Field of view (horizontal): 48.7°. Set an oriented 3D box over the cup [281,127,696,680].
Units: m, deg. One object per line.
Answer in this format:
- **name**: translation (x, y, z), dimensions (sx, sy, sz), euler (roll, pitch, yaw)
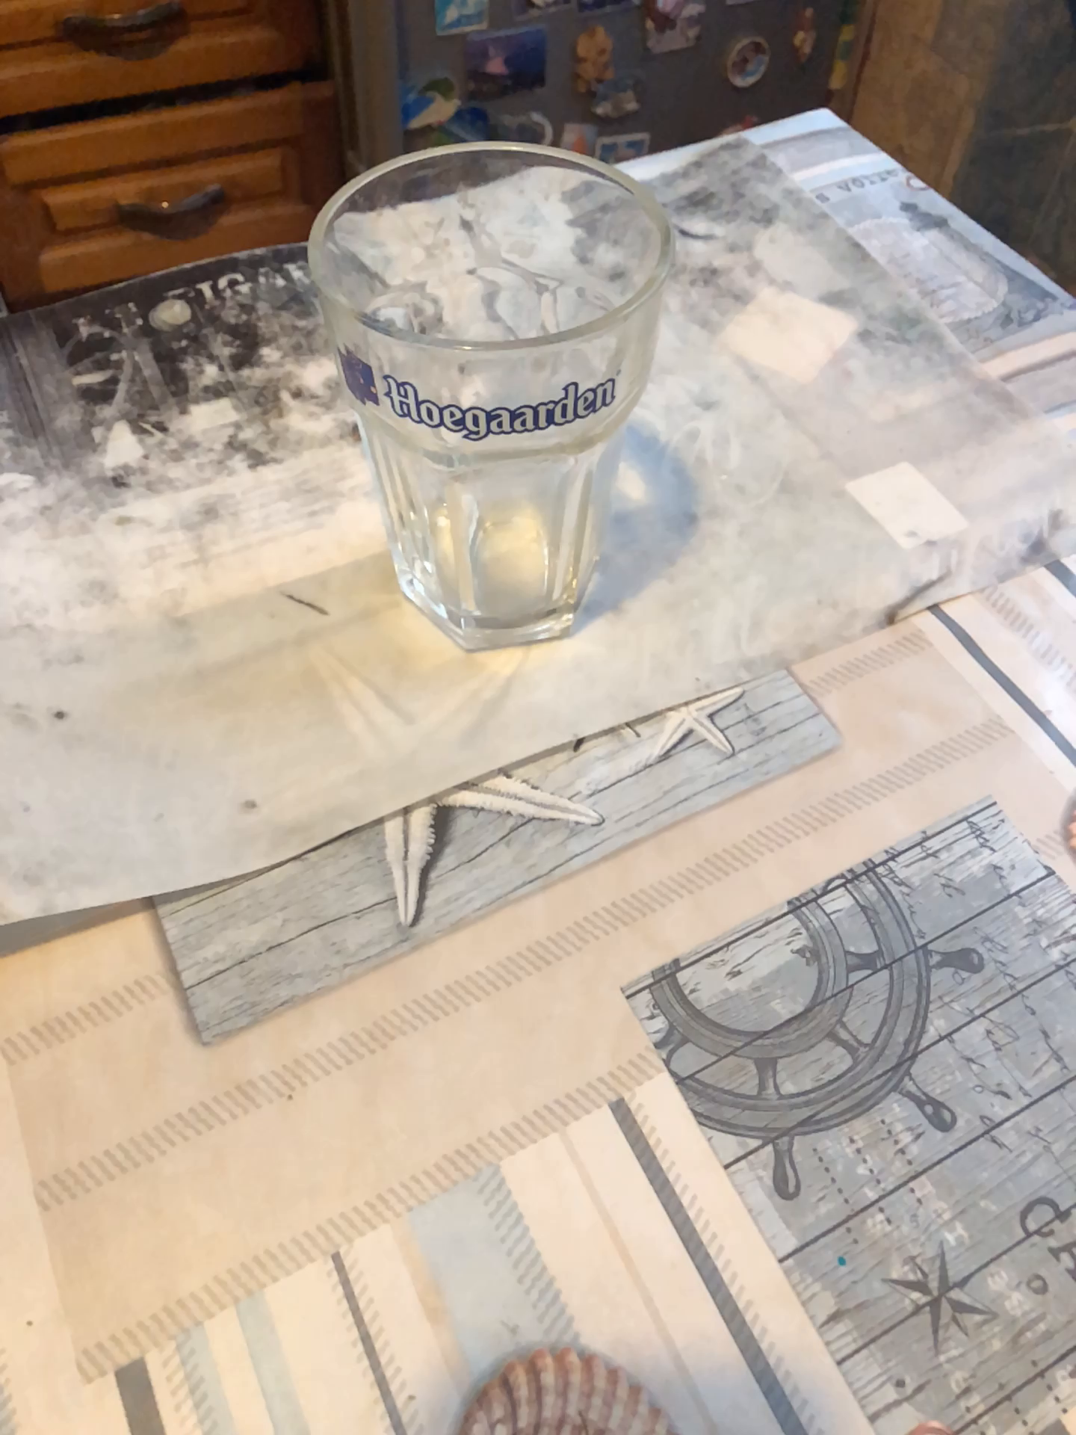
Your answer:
- **cup**: translation (-0.011, -0.090, 0.360), dimensions (0.098, 0.123, 0.099), euler (-1, 54, 2)
